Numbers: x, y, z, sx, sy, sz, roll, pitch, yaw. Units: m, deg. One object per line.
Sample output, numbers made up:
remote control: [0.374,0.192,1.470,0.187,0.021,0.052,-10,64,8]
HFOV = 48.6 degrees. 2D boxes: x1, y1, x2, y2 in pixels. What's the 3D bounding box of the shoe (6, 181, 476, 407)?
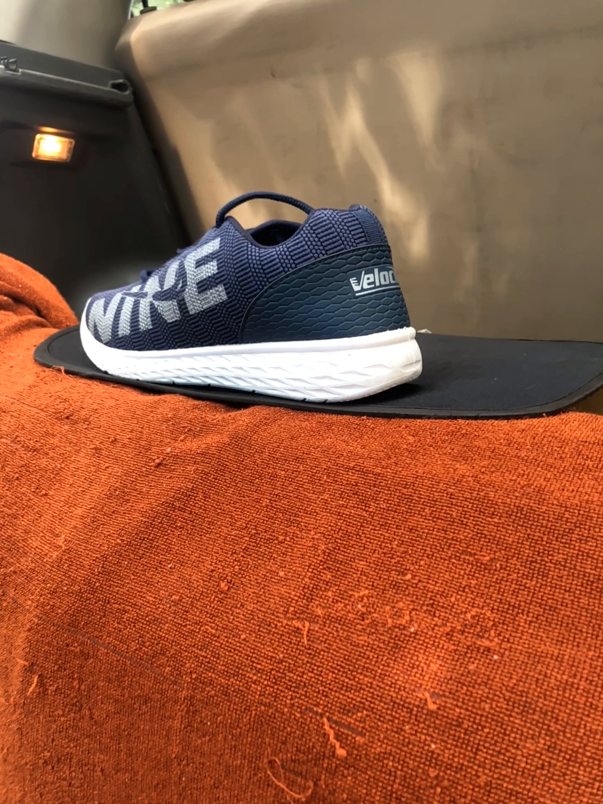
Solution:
shoe: [-0.050,-0.073,0.436,0.290,0.100,0.131,7,16,38]
